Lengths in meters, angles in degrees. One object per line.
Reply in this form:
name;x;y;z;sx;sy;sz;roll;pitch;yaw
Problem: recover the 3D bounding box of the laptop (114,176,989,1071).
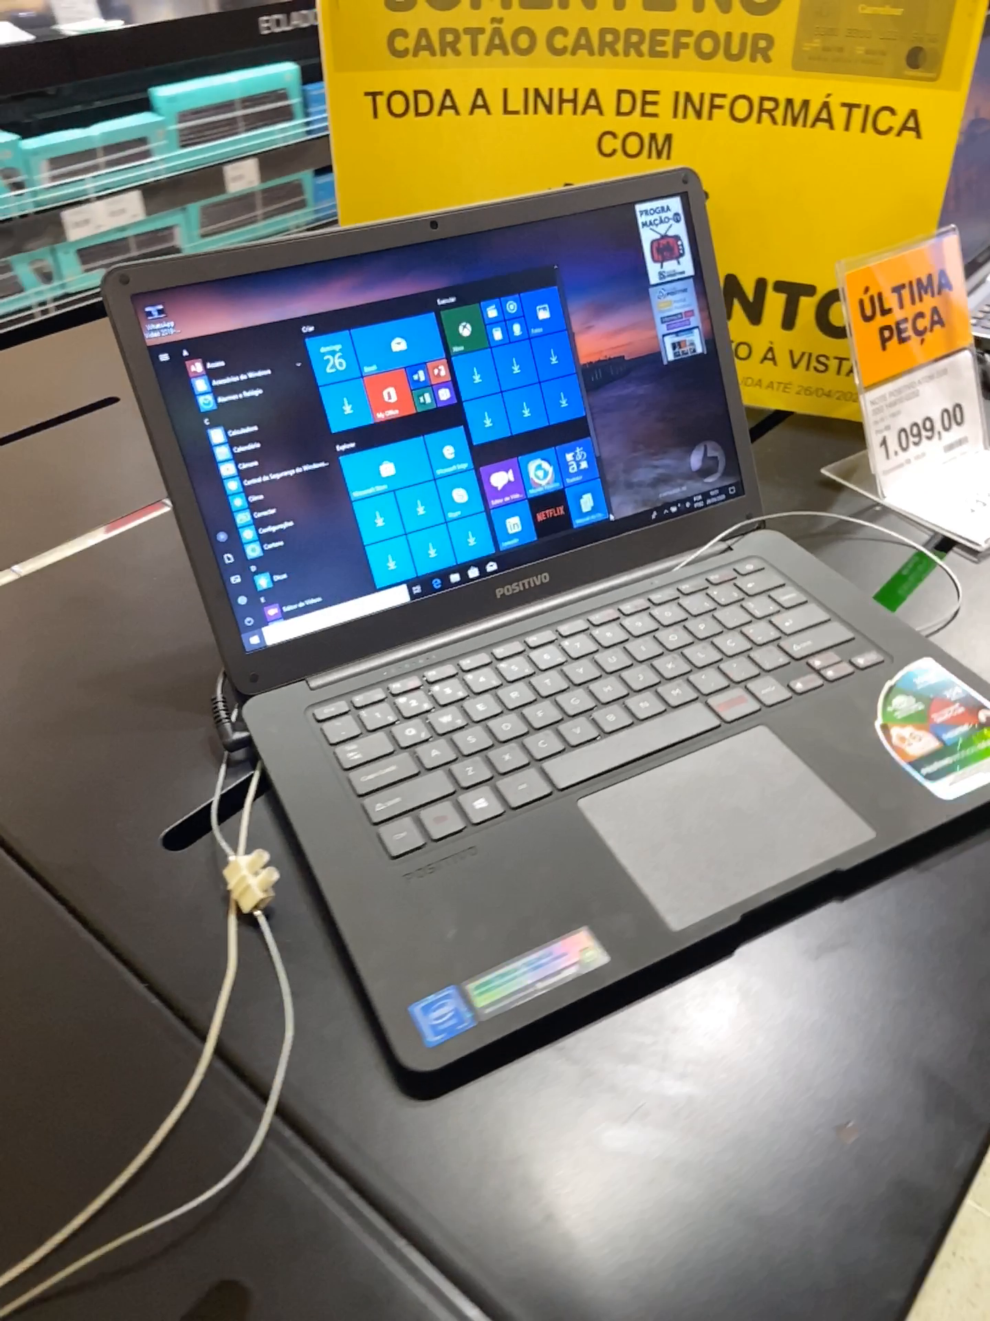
laptop;0.040;-0.060;0.423;0.297;0.159;0.293;-19;42;-20
